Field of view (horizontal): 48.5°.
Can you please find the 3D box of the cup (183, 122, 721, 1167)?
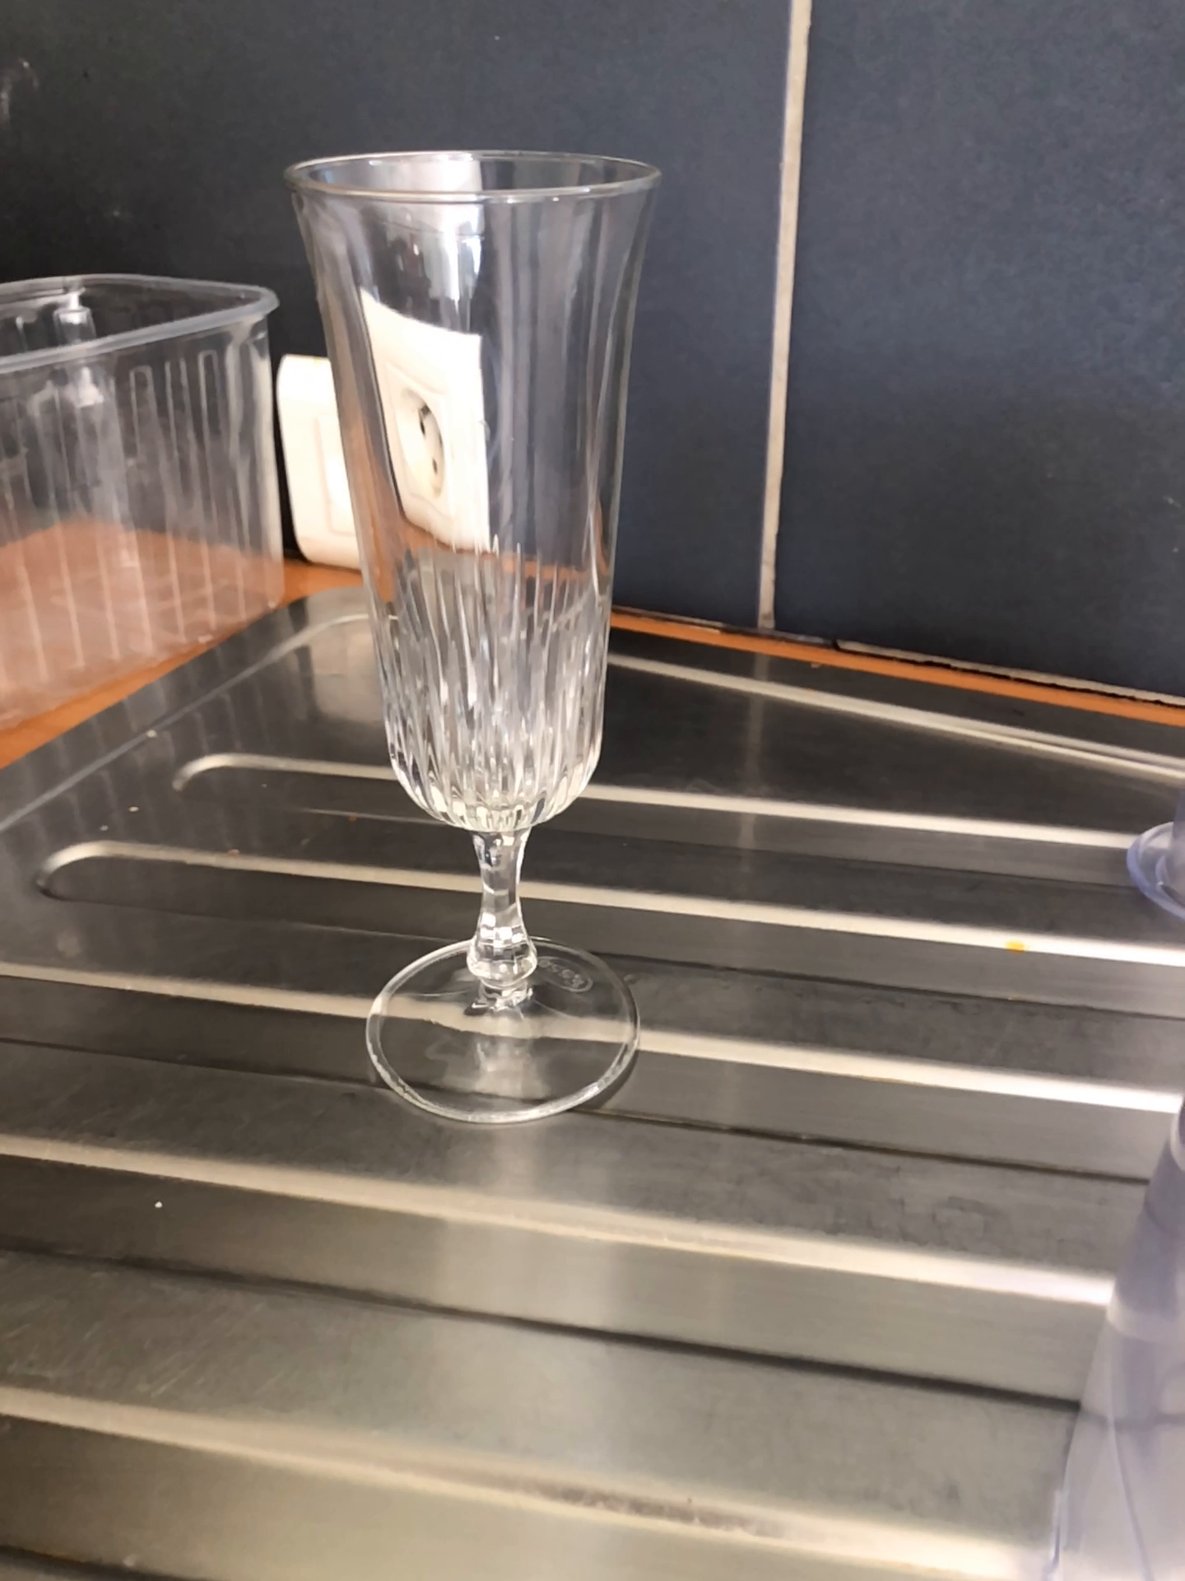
[{"bbox_3d":[-0.022,-0.024,0.239,0.060,0.169,0.060,-1,29,0],"label":"cup"}]
